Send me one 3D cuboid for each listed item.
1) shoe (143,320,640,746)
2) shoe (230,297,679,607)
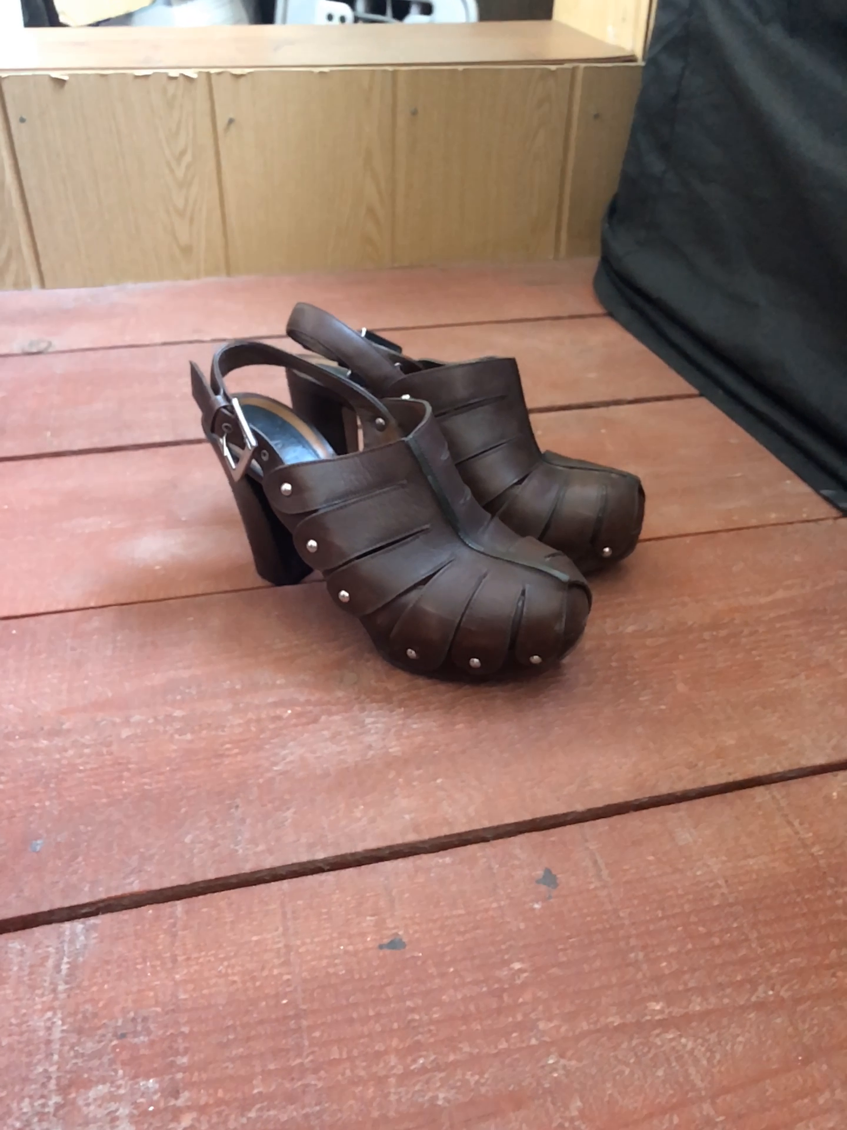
[{"bbox_3d":[-0.020,-0.025,0.445,0.210,0.120,0.080,22,39,28],"label":"shoe"},{"bbox_3d":[0.015,-0.065,0.498,0.210,0.110,0.080,12,22,10],"label":"shoe"}]
